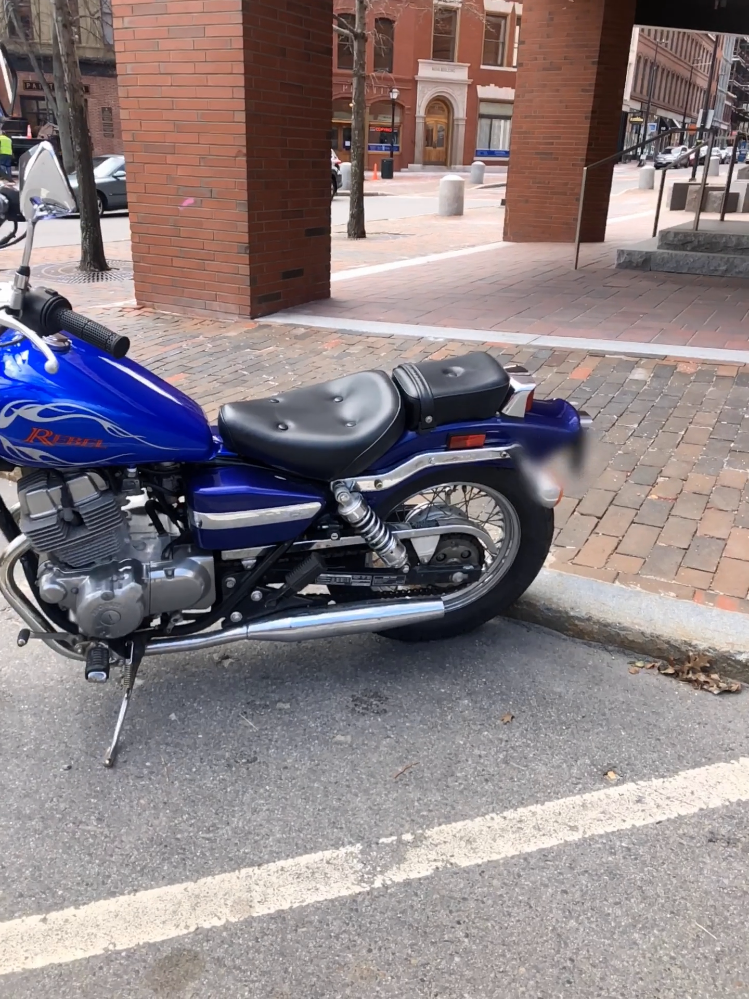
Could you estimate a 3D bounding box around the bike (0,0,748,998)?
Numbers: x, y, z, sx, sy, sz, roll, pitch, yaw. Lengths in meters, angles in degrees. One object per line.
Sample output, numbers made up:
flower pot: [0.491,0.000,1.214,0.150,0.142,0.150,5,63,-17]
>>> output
bike: [-0.381,-0.002,1.534,2.028,1.179,0.928,-5,23,-24]
